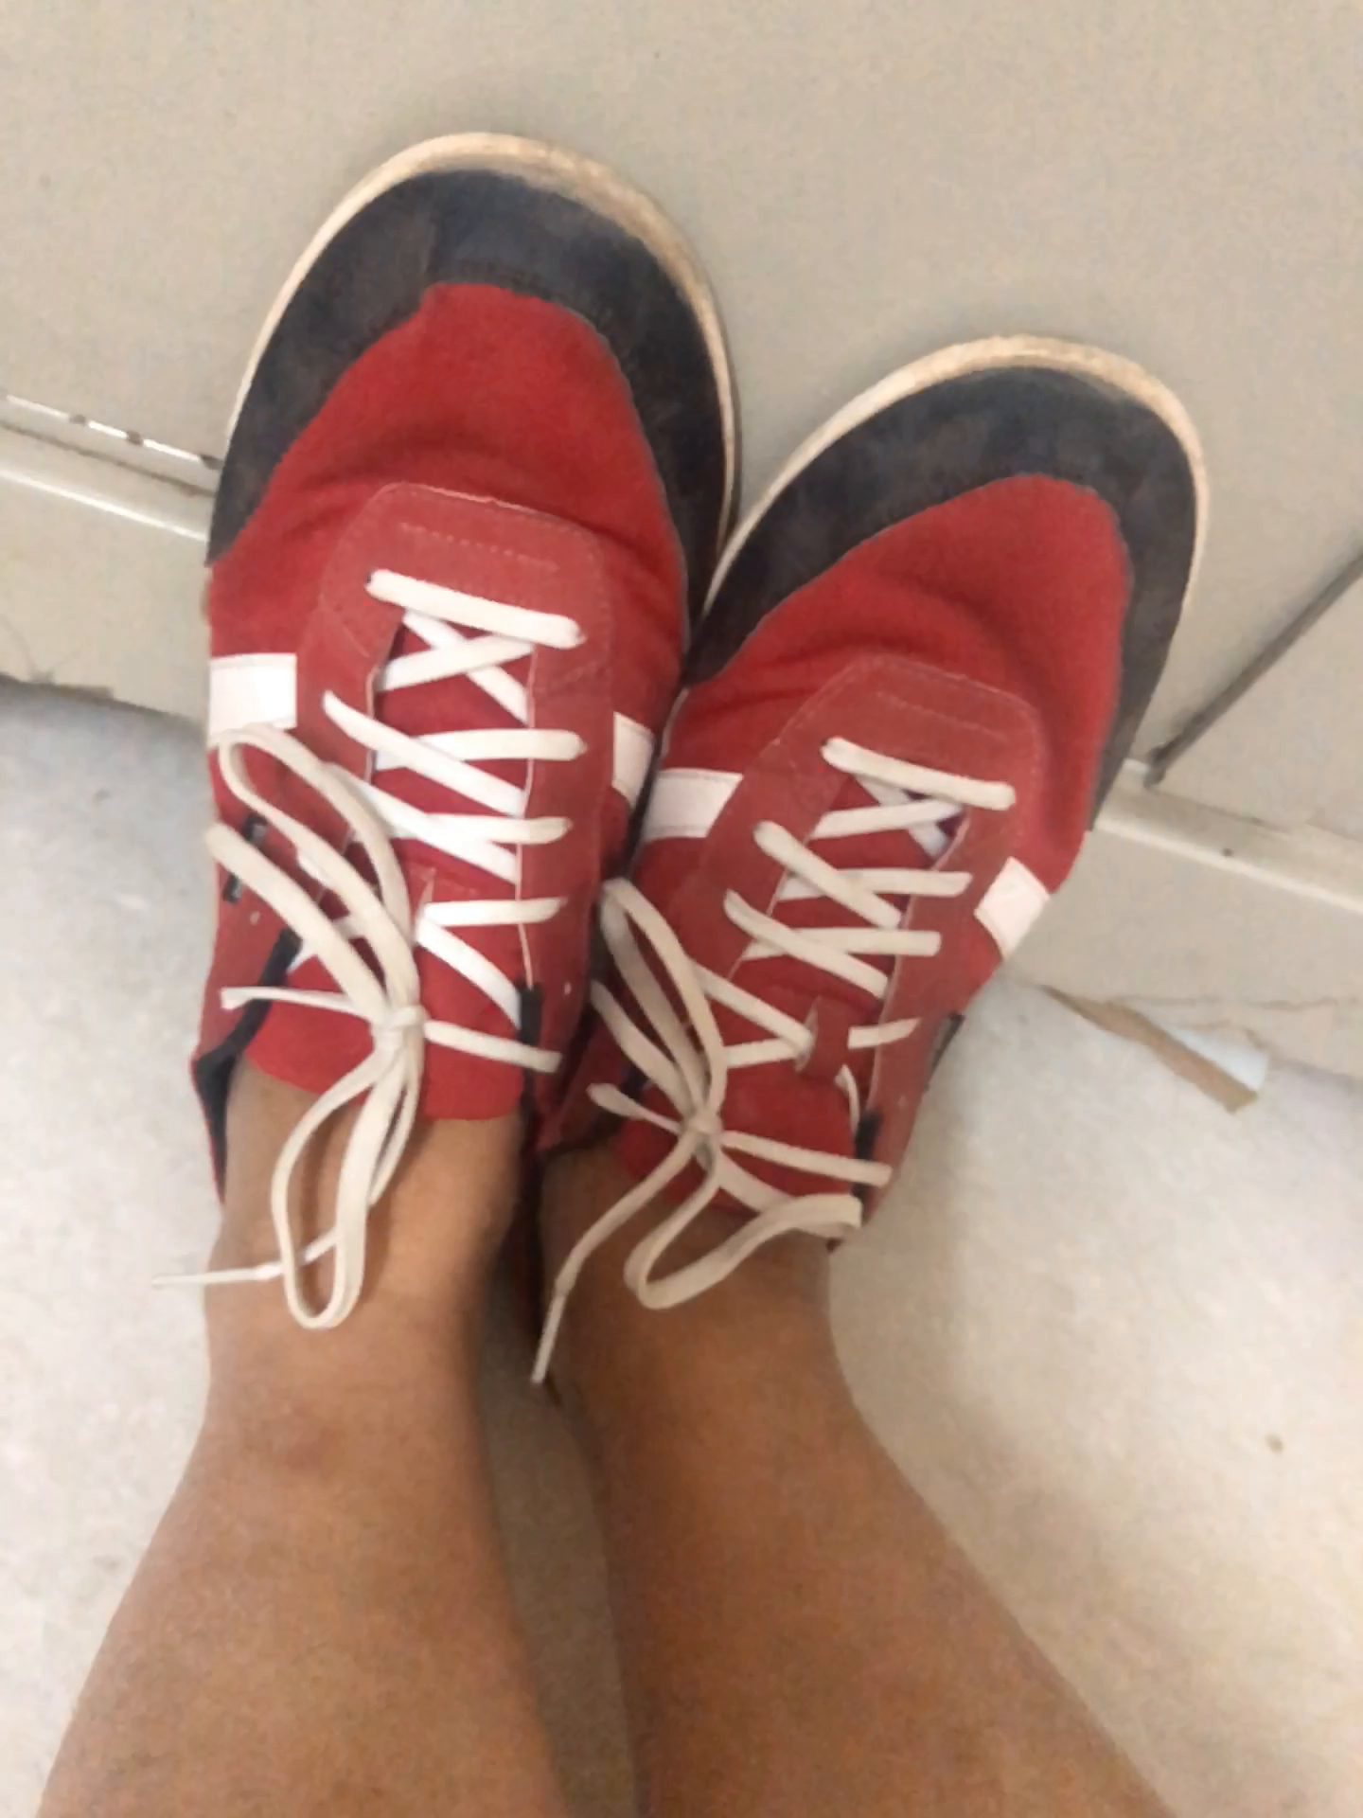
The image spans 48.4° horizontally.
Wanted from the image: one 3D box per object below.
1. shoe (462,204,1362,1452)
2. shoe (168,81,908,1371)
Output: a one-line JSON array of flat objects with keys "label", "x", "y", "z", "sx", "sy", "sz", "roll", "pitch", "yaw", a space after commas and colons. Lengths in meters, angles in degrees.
[{"label": "shoe", "x": 0.033, "y": -0.008, "z": 0.338, "sx": 0.100, "sy": 0.249, "sz": 0.080, "roll": 14, "pitch": 25, "yaw": -11}, {"label": "shoe", "x": -0.044, "y": -0.025, "z": 0.302, "sx": 0.100, "sy": 0.229, "sz": 0.080, "roll": 3, "pitch": 28, "yaw": -18}]
